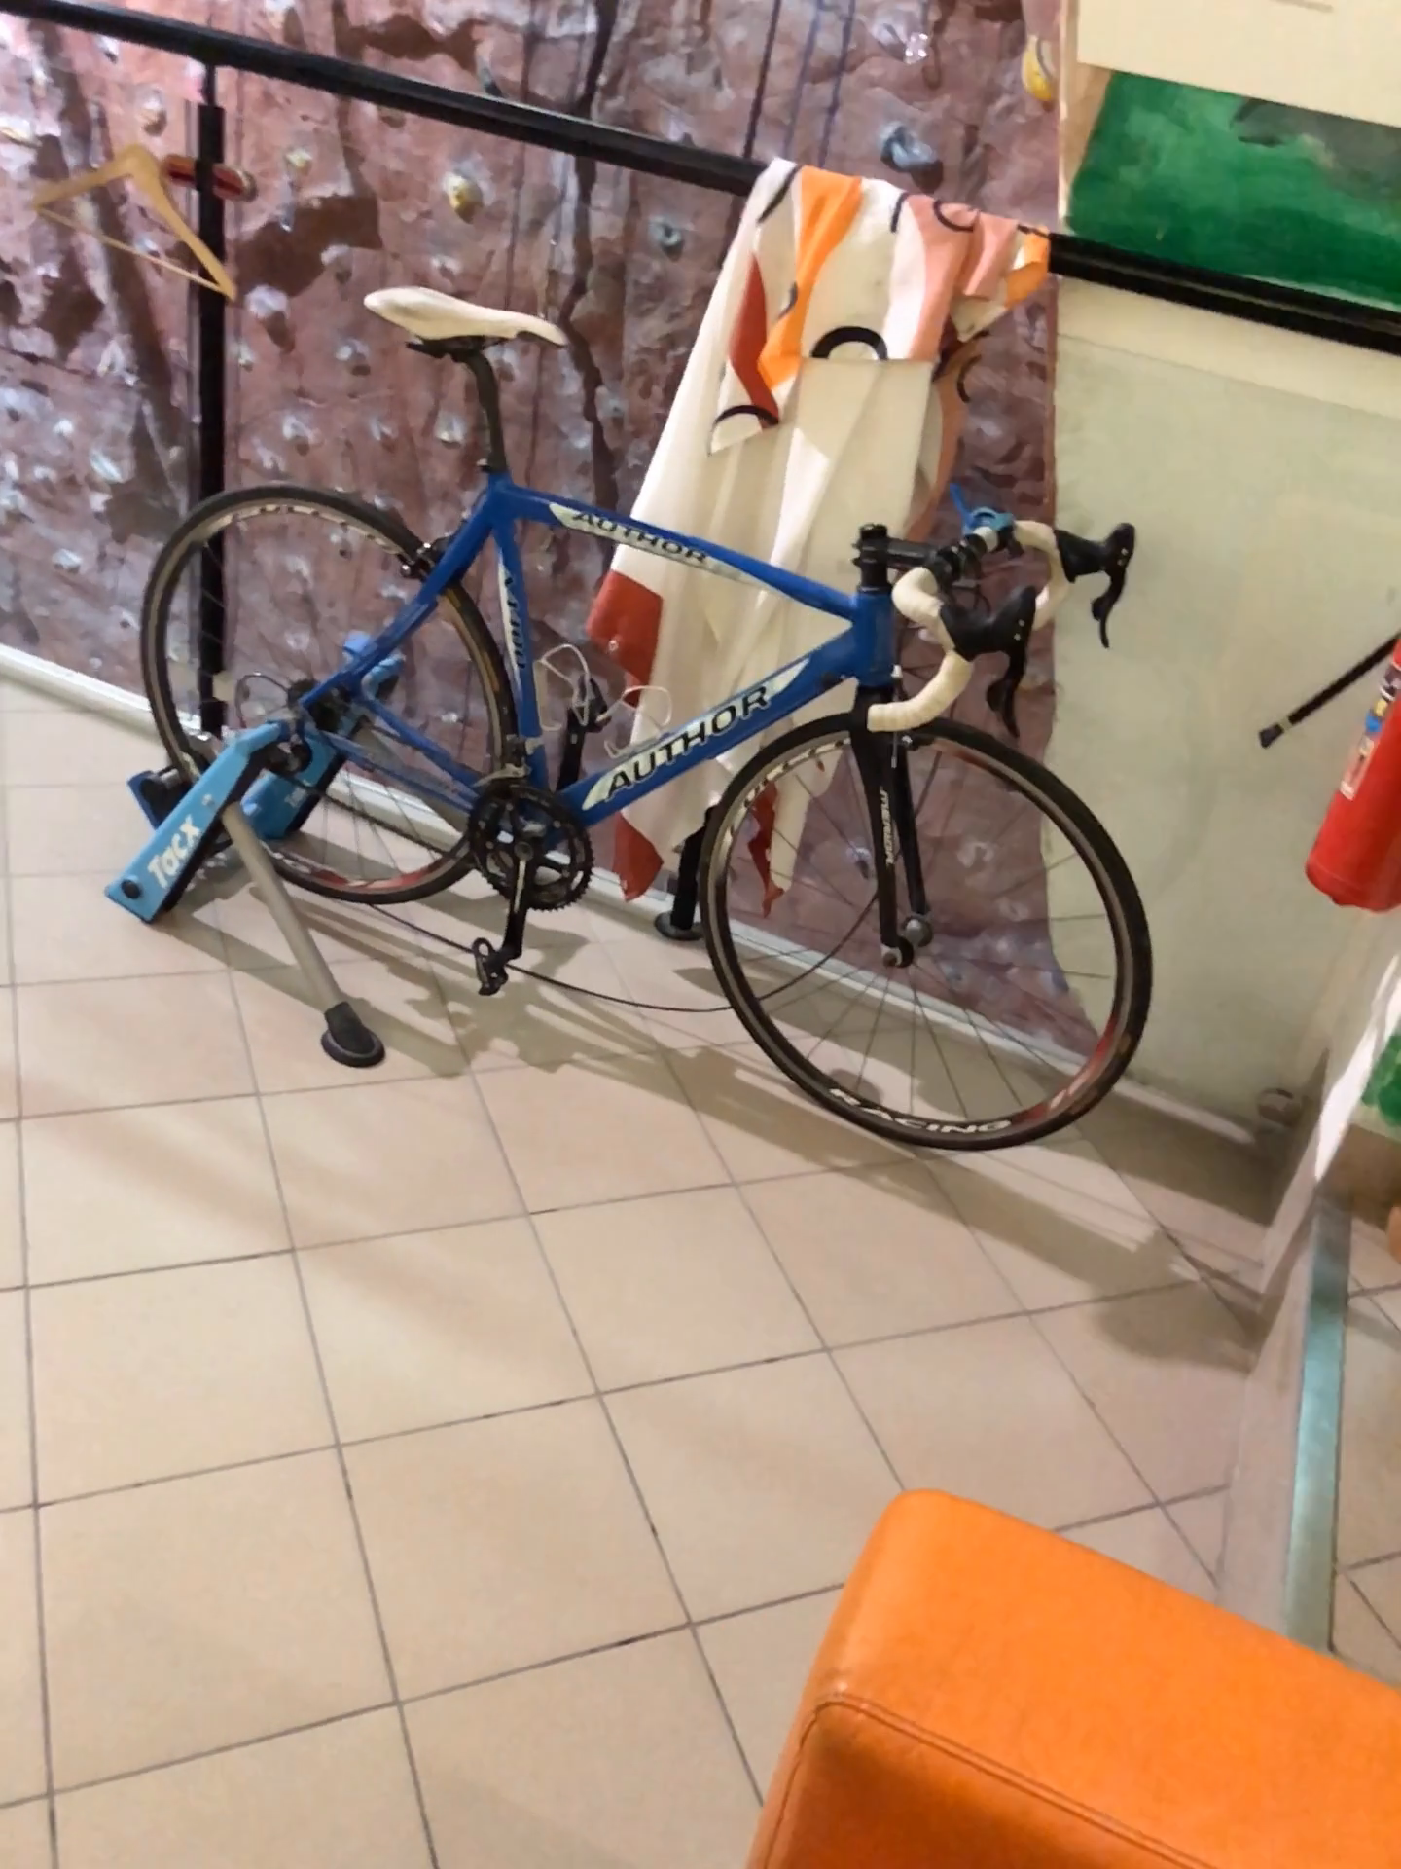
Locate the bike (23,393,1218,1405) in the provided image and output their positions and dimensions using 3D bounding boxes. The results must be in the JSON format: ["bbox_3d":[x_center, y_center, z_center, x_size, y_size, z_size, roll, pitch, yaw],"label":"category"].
[{"bbox_3d":[-0.157,-0.116,2.144,1.553,0.682,0.468,25,33,14],"label":"bike"}]
